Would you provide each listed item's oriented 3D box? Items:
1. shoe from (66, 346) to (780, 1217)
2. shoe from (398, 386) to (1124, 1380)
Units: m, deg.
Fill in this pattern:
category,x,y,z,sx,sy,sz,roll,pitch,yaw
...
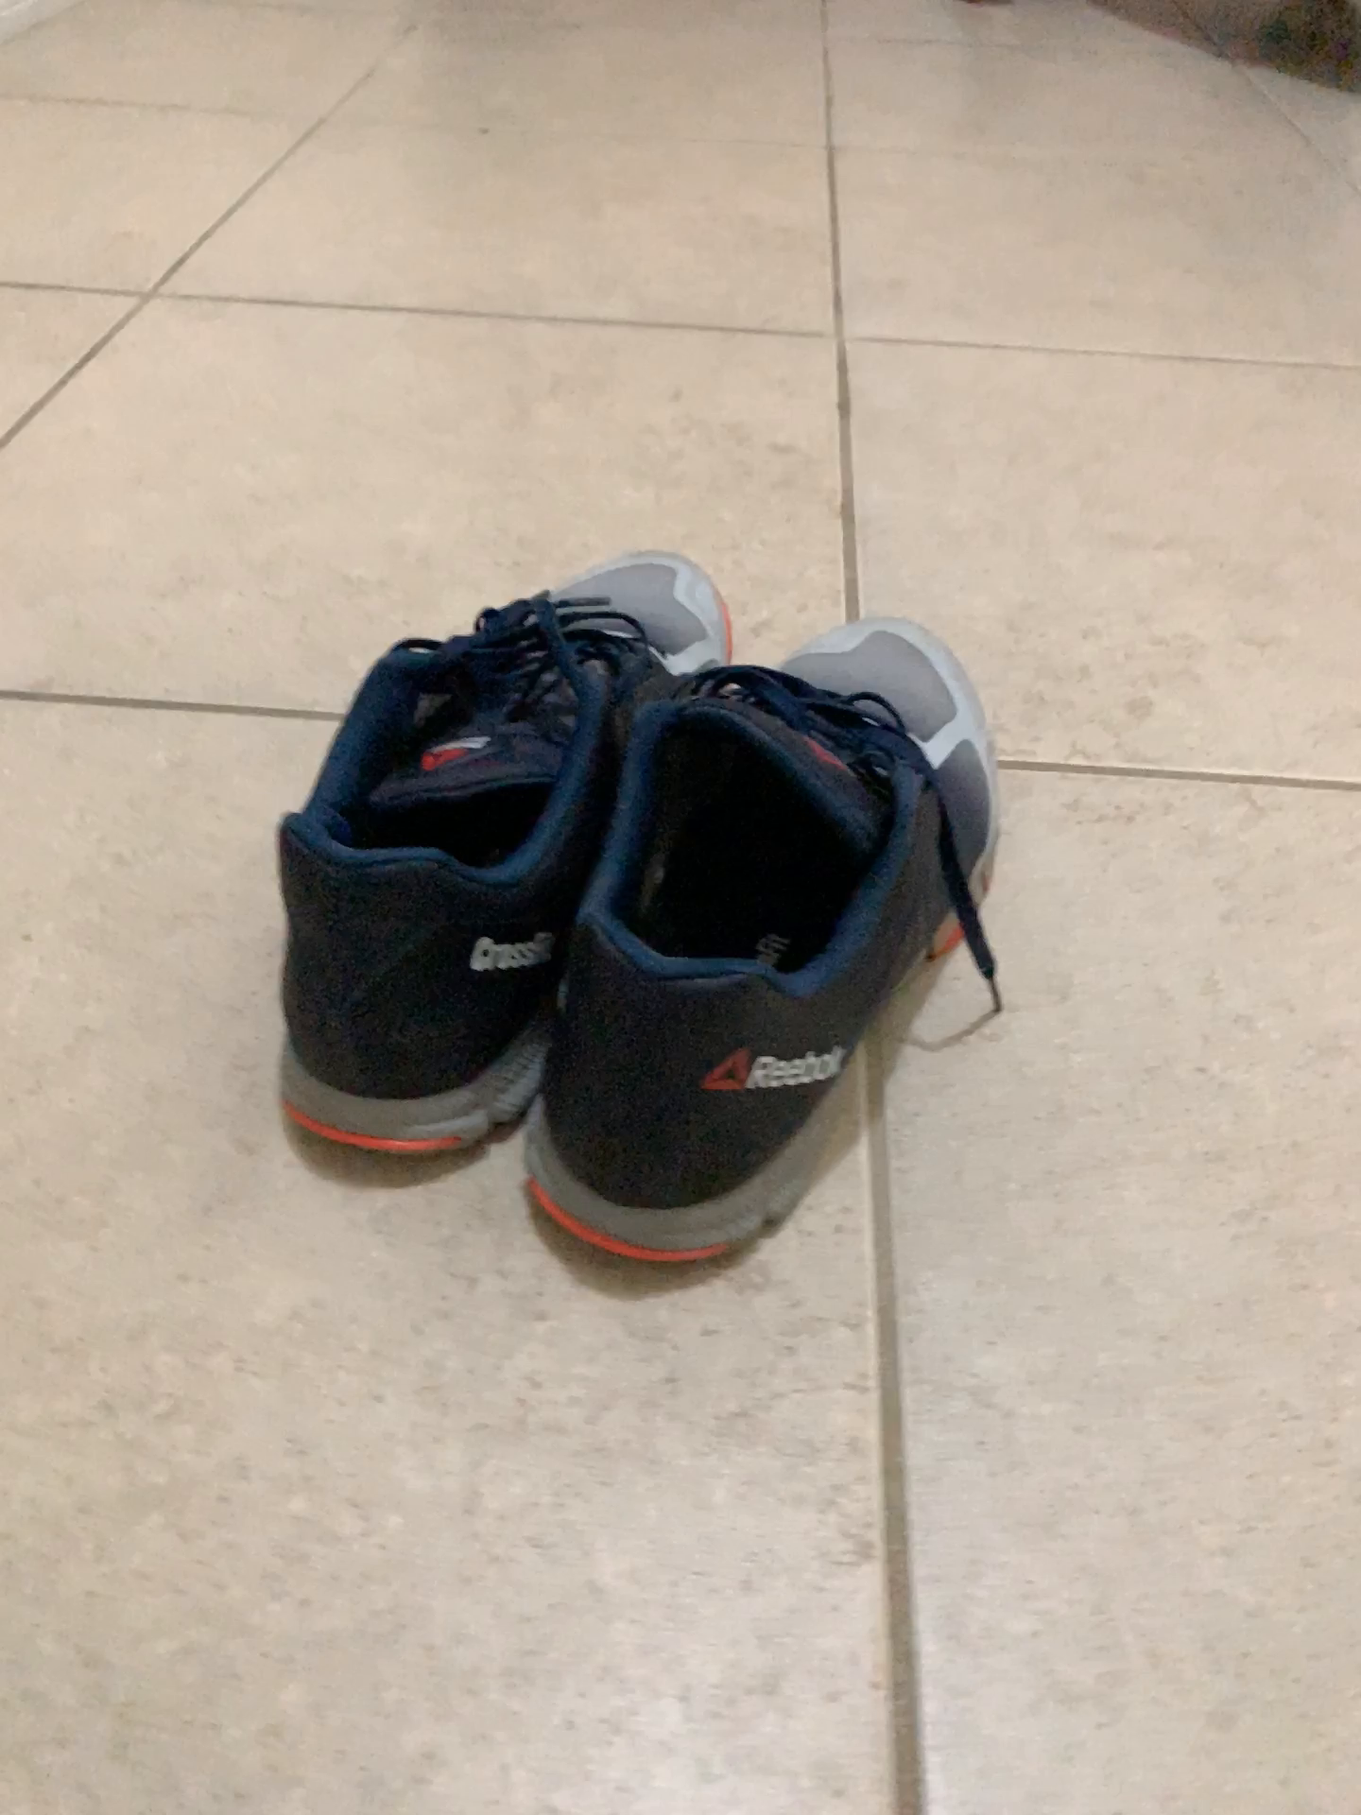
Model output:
category,x,y,z,sx,sy,sz,roll,pitch,yaw
shoe,-0.056,-0.067,0.475,0.104,0.121,0.307,12,43,10
shoe,0.046,-0.036,0.454,0.109,0.133,0.317,17,44,15
